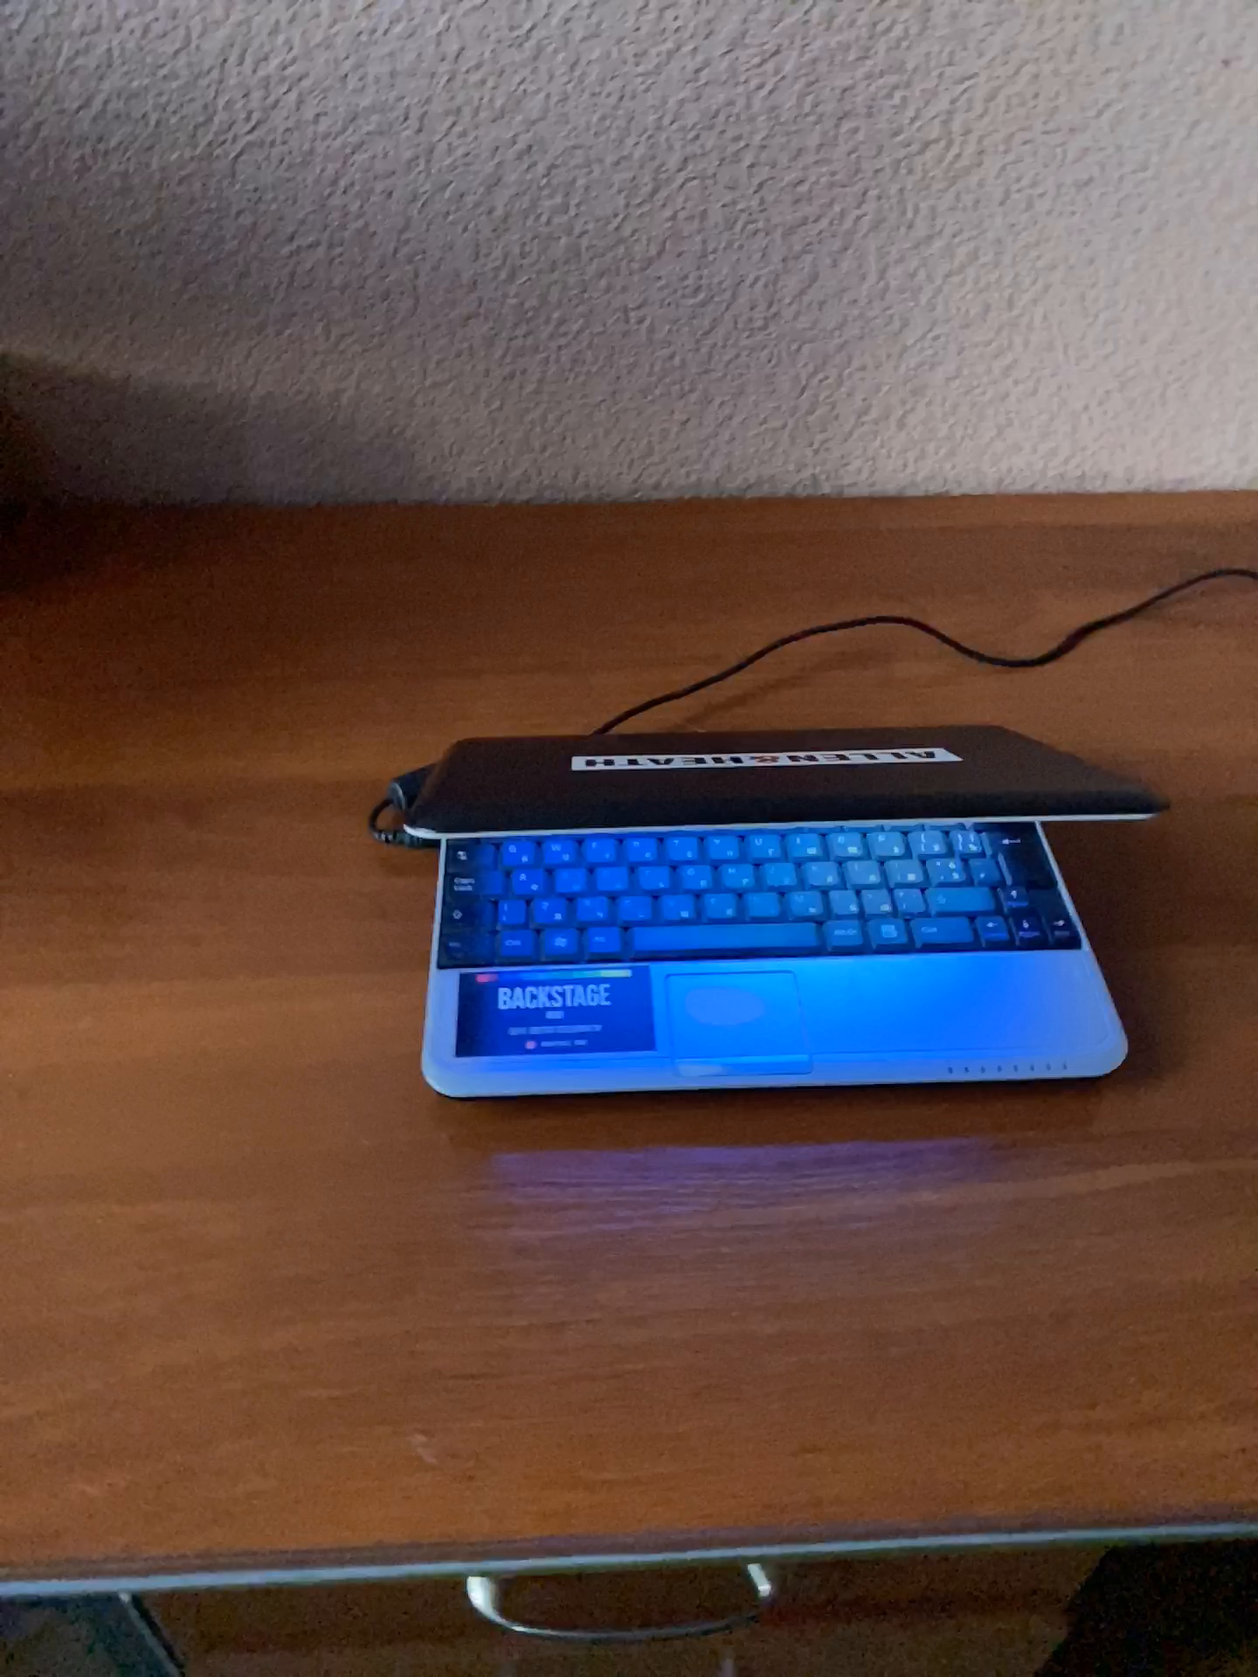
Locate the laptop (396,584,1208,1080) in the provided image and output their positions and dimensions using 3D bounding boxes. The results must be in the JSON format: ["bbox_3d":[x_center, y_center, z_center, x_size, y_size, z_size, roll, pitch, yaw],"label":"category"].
[{"bbox_3d":[0.054,-0.009,0.508,0.266,0.088,0.173,-1,46,-1],"label":"laptop"}]
